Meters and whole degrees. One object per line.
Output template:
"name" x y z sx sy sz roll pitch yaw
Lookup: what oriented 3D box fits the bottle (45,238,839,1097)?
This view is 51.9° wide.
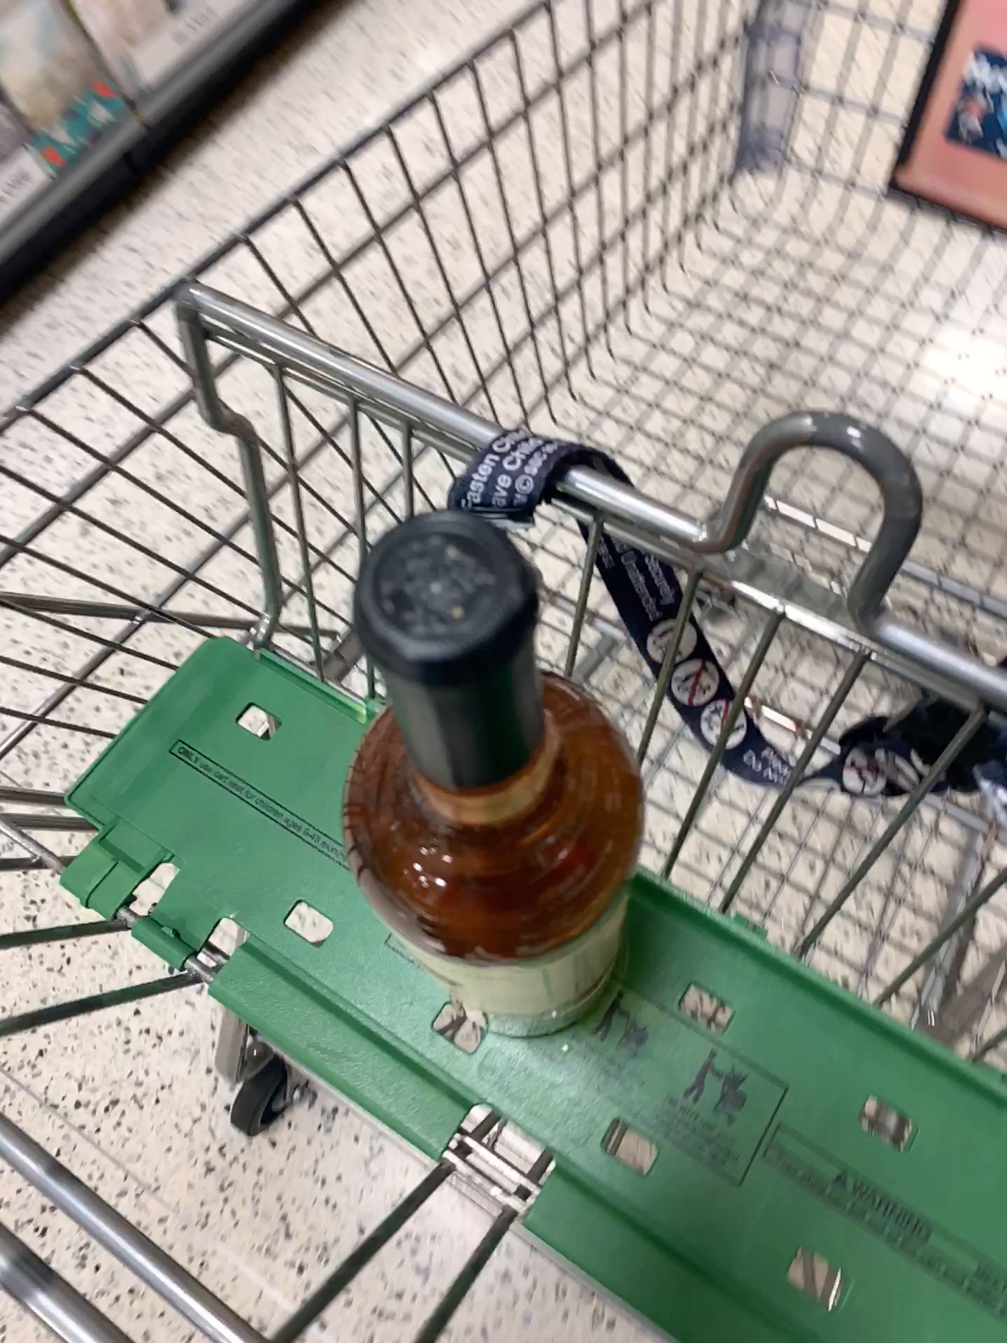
"bottle" 0.002 0.046 0.295 0.084 0.316 0.087 -2 64 3
